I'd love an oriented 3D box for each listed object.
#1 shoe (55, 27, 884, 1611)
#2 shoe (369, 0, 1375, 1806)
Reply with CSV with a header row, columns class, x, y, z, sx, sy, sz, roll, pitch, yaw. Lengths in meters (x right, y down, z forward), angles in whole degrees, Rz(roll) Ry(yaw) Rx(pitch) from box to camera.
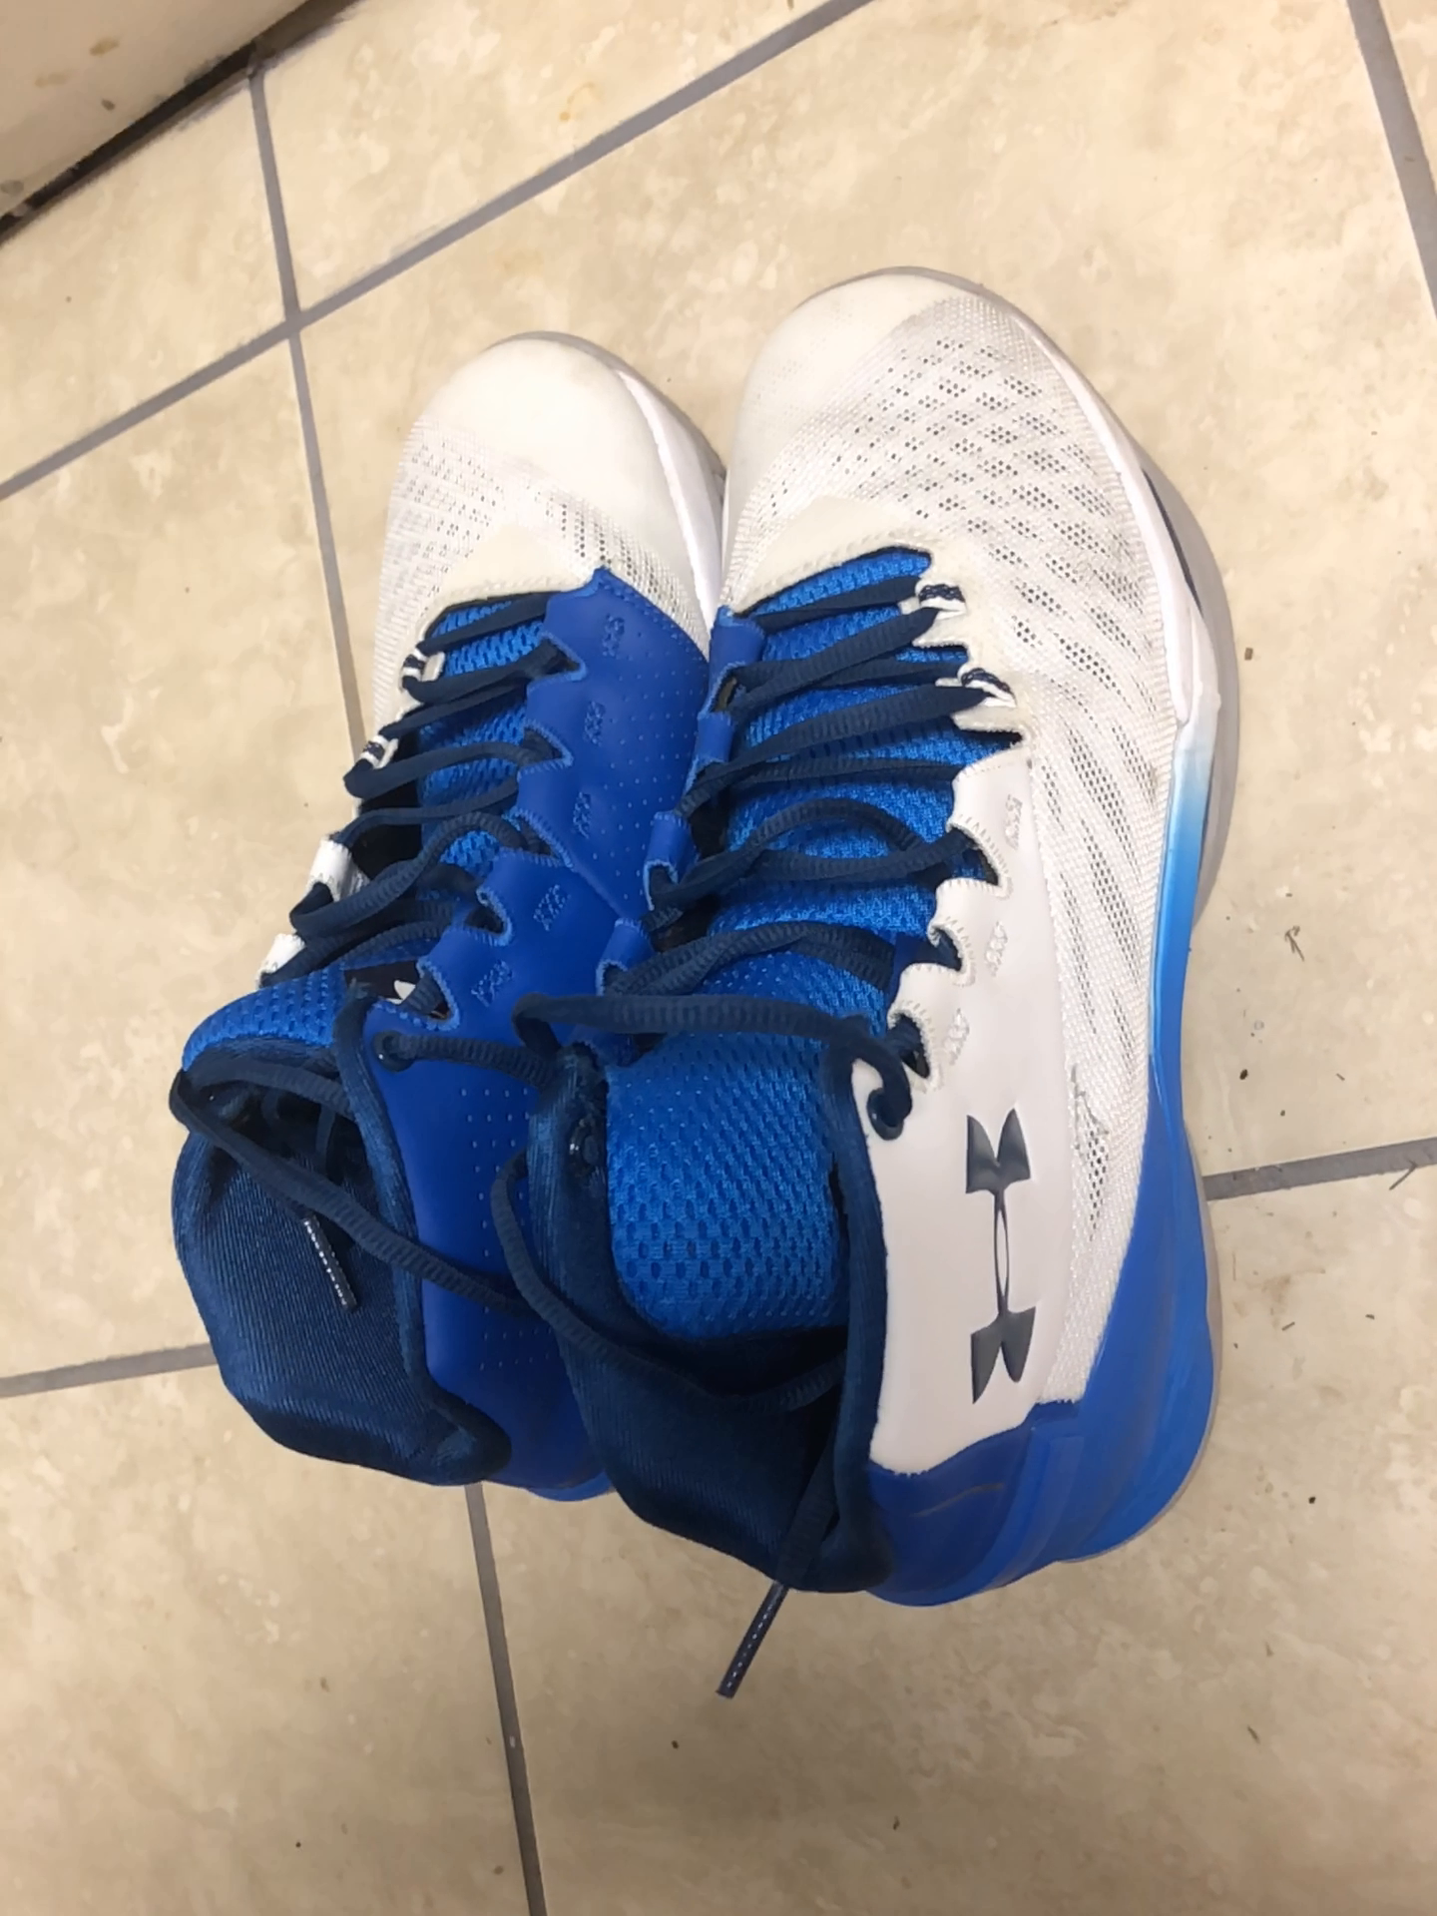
class,x,y,z,sx,sy,sz,roll,pitch,yaw
shoe,-0.060,-0.023,0.374,0.120,0.100,0.310,-12,82,29
shoe,0.031,-0.032,0.318,0.120,0.129,0.322,-11,80,29
